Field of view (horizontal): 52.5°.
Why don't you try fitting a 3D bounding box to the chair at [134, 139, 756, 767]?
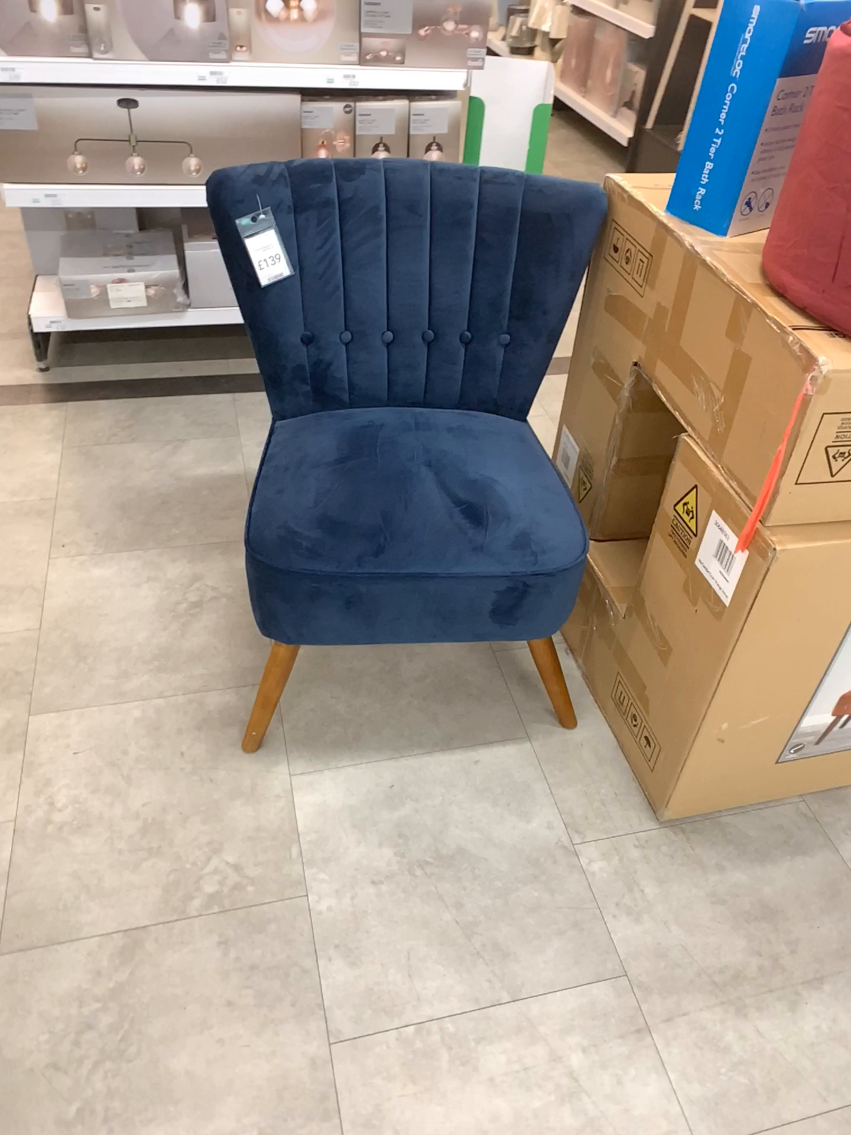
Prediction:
[{"bbox_3d":[-0.035,-0.215,1.525,0.729,0.790,0.733,-2,41,-8],"label":"chair"}]
